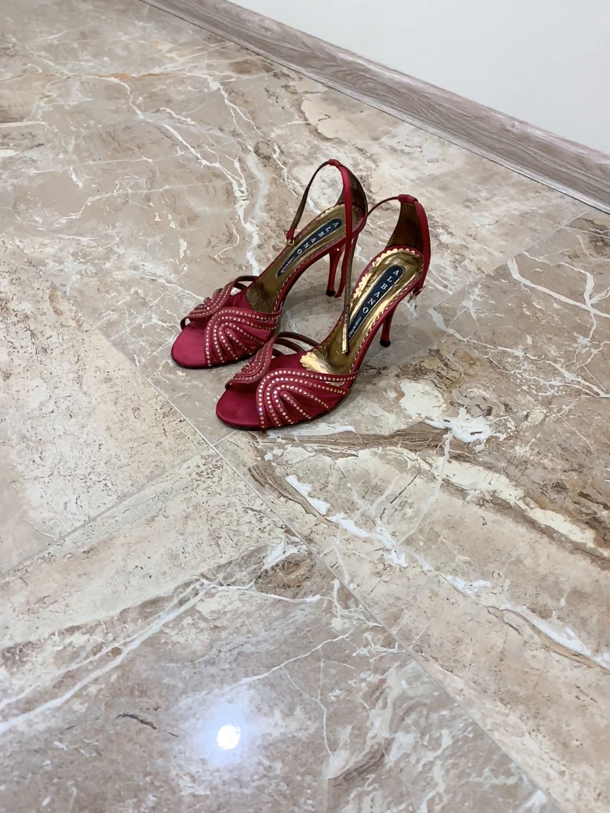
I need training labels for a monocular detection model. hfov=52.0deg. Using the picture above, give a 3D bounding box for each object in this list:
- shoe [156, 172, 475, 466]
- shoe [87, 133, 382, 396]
[{"bbox_3d":[0.013,-0.076,0.512,0.230,0.129,0.090,-31,57,-24],"label":"shoe"},{"bbox_3d":[-0.052,-0.132,0.562,0.230,0.129,0.090,-31,57,-24],"label":"shoe"}]
